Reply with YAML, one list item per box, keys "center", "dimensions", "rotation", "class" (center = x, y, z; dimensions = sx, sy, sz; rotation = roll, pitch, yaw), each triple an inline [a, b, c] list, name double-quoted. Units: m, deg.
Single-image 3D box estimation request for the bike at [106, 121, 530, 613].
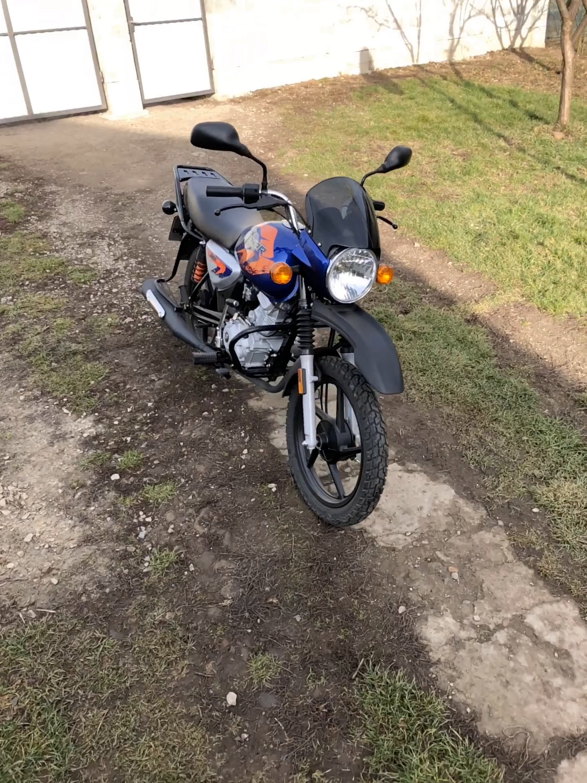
- center: [-0.064, -0.309, 2.571]
  dimensions: [0.808, 1.049, 1.789]
  rotation: [-16, 36, -20]
  class: "bike"
